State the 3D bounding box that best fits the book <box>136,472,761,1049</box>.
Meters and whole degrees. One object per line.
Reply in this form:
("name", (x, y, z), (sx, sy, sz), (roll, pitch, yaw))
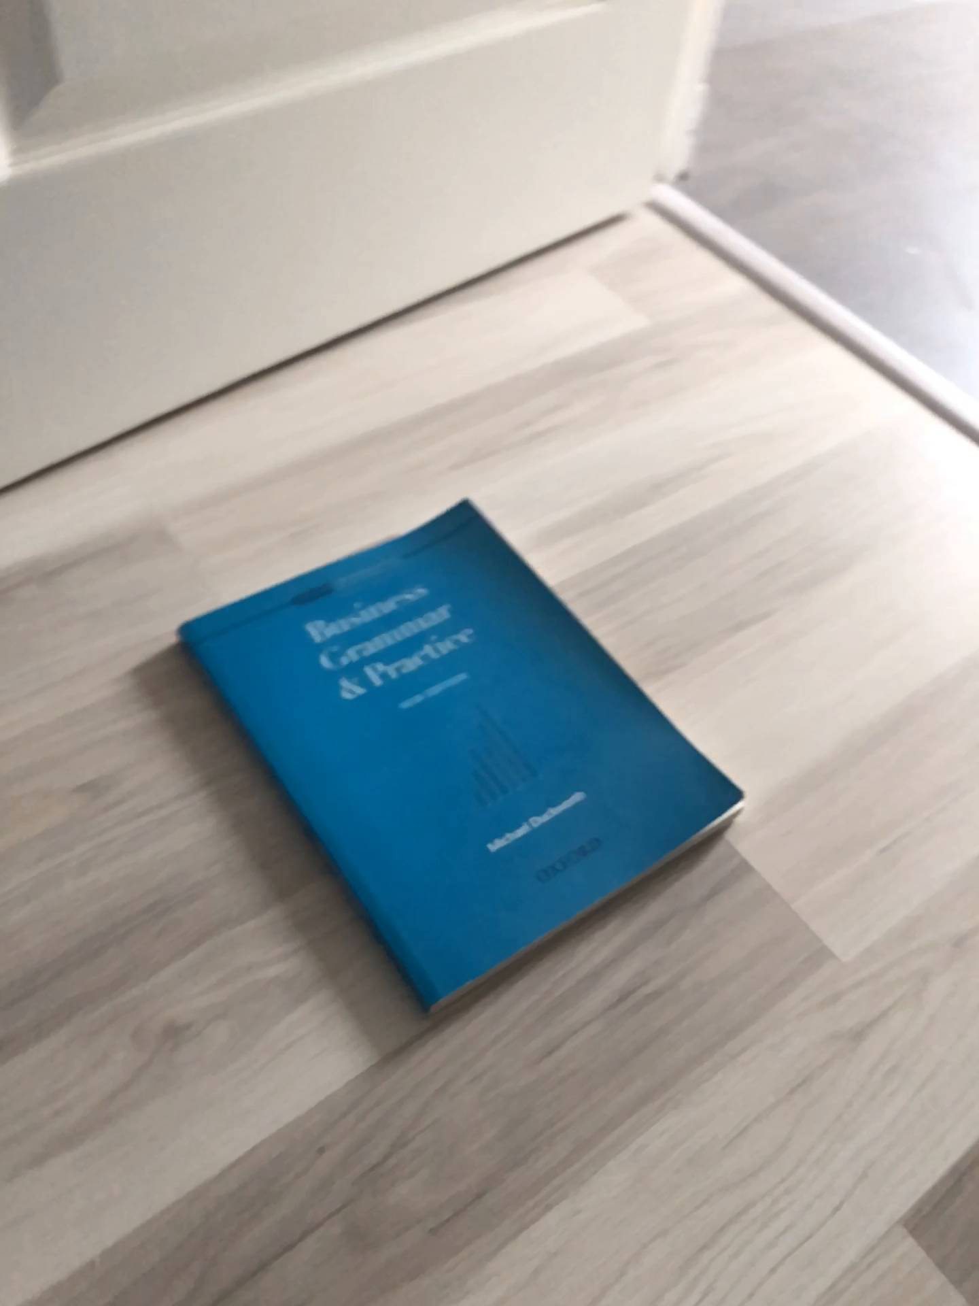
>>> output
("book", (-0.032, 0.035, 0.635), (0.231, 0.040, 0.300), (-26, 58, -26))
